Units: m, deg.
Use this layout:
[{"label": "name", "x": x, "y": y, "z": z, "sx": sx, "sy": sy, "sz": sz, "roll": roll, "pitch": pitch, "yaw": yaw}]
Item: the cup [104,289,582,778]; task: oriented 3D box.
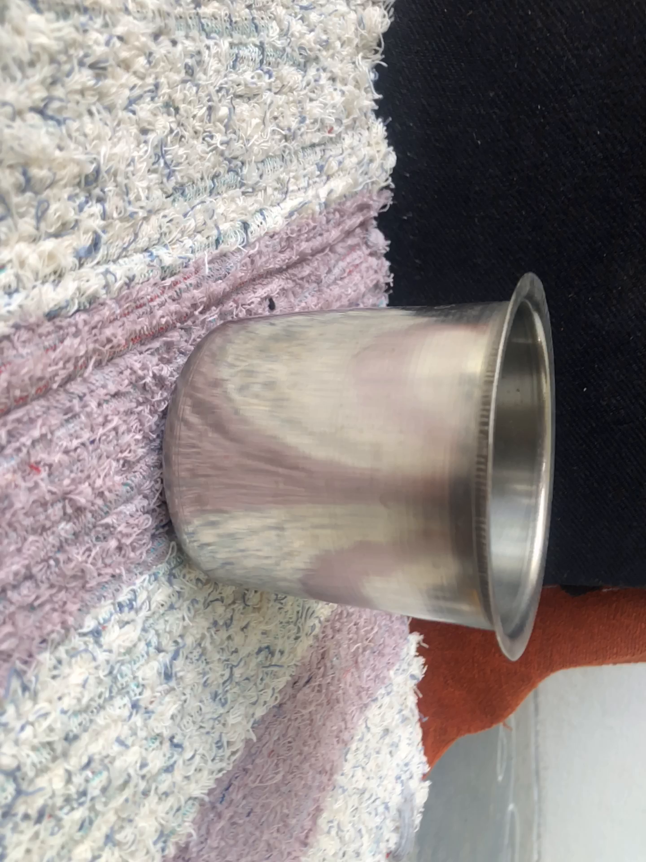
[{"label": "cup", "x": 0.015, "y": 0.013, "z": 0.212, "sx": 0.101, "sy": 0.099, "sz": 0.100, "roll": 5, "pitch": 90, "yaw": -65}]
